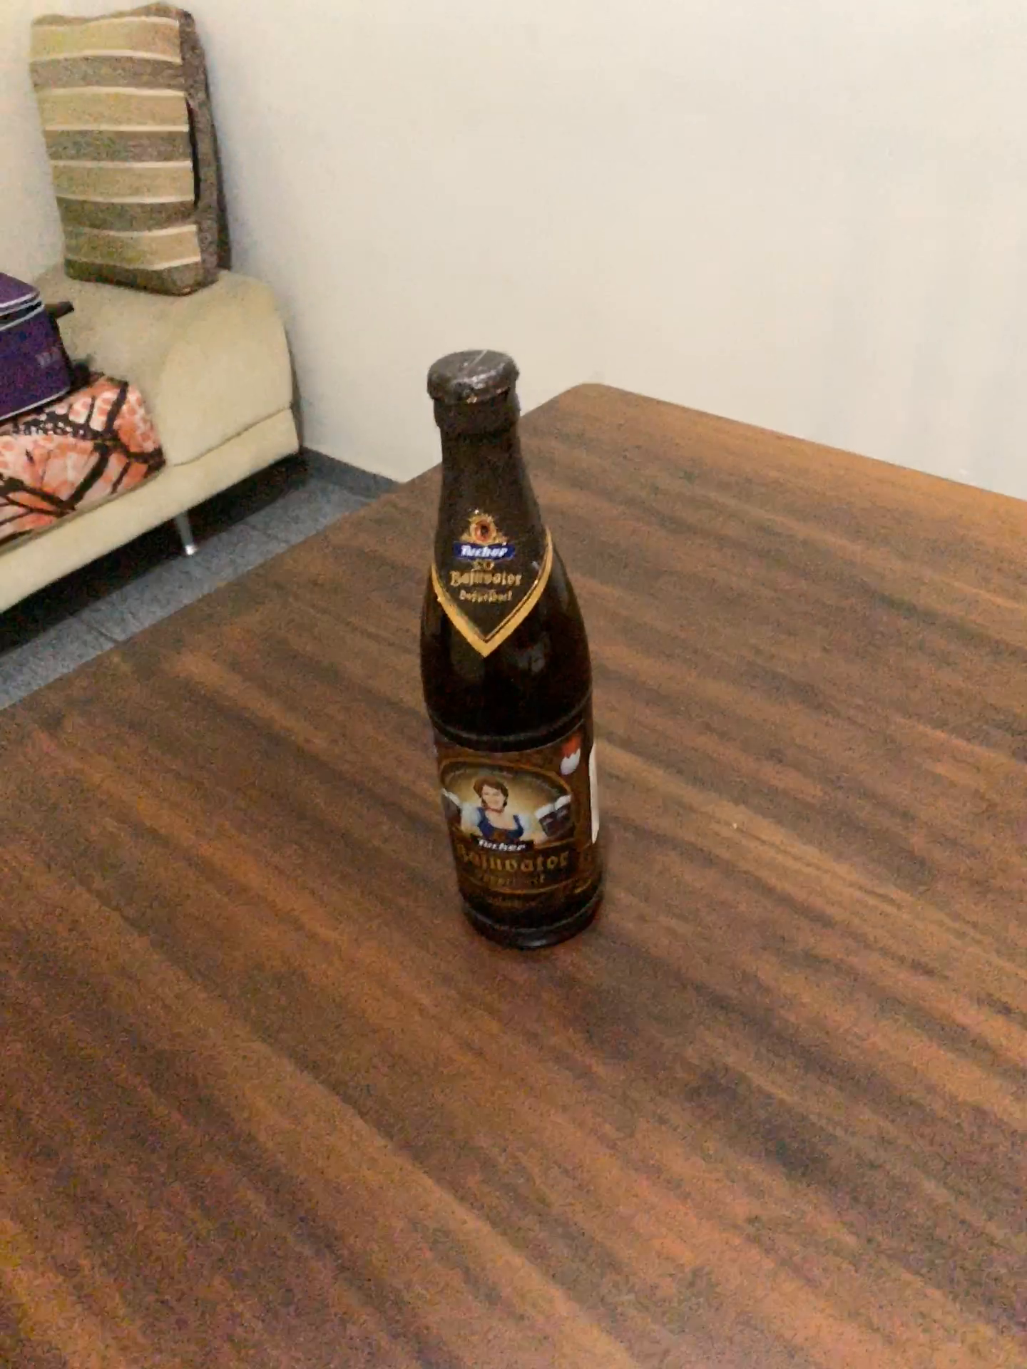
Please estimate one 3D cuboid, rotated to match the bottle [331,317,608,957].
[{"bbox_3d":[-0.005,-0.002,0.423,0.070,0.268,0.060,3,39,12],"label":"bottle"}]
